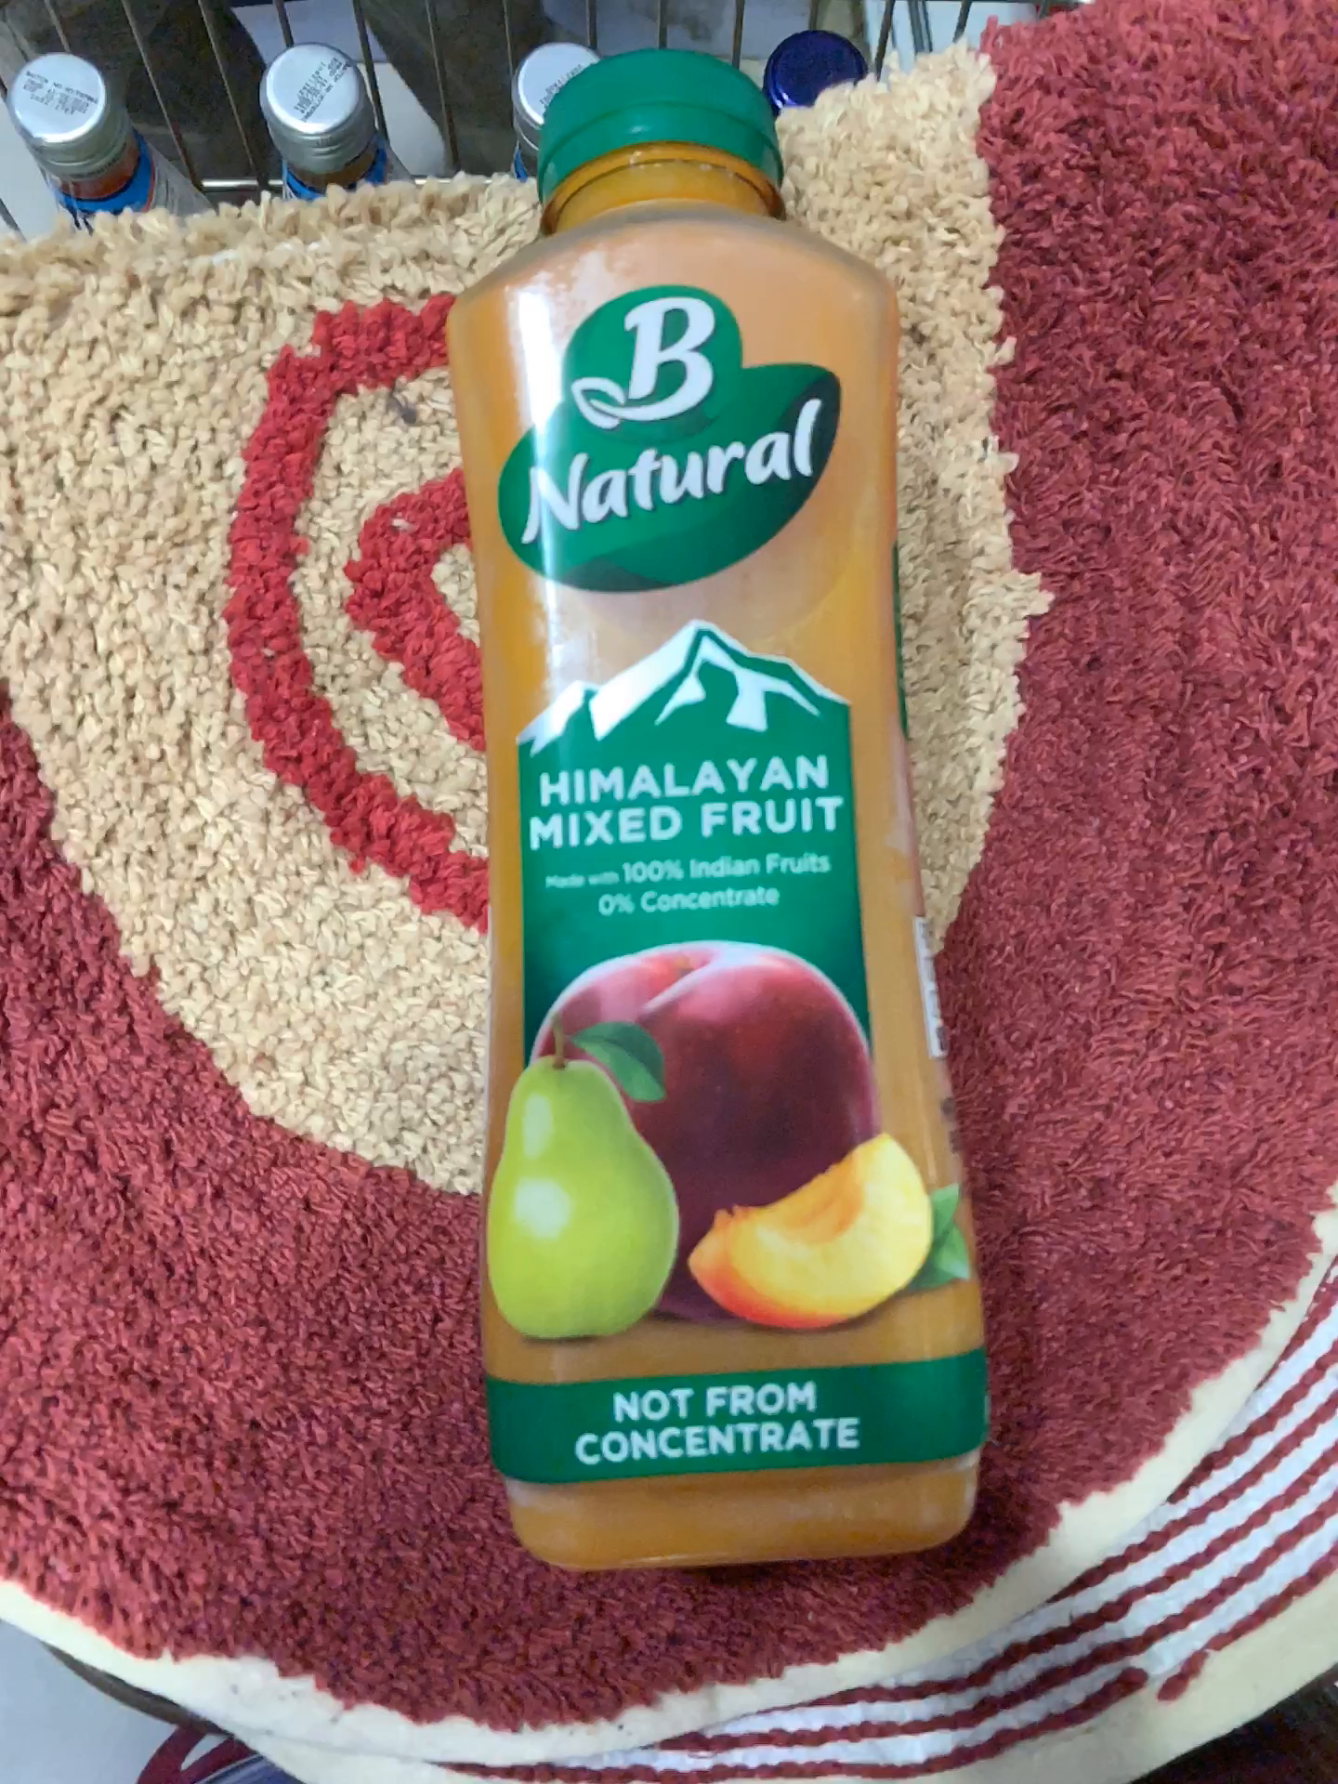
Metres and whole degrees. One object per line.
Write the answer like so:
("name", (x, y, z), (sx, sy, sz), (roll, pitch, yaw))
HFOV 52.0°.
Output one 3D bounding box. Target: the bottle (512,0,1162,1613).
("bottle", (0.017, -0.026, 0.213), (0.070, 0.070, 0.230), (-2, 79, -1))
